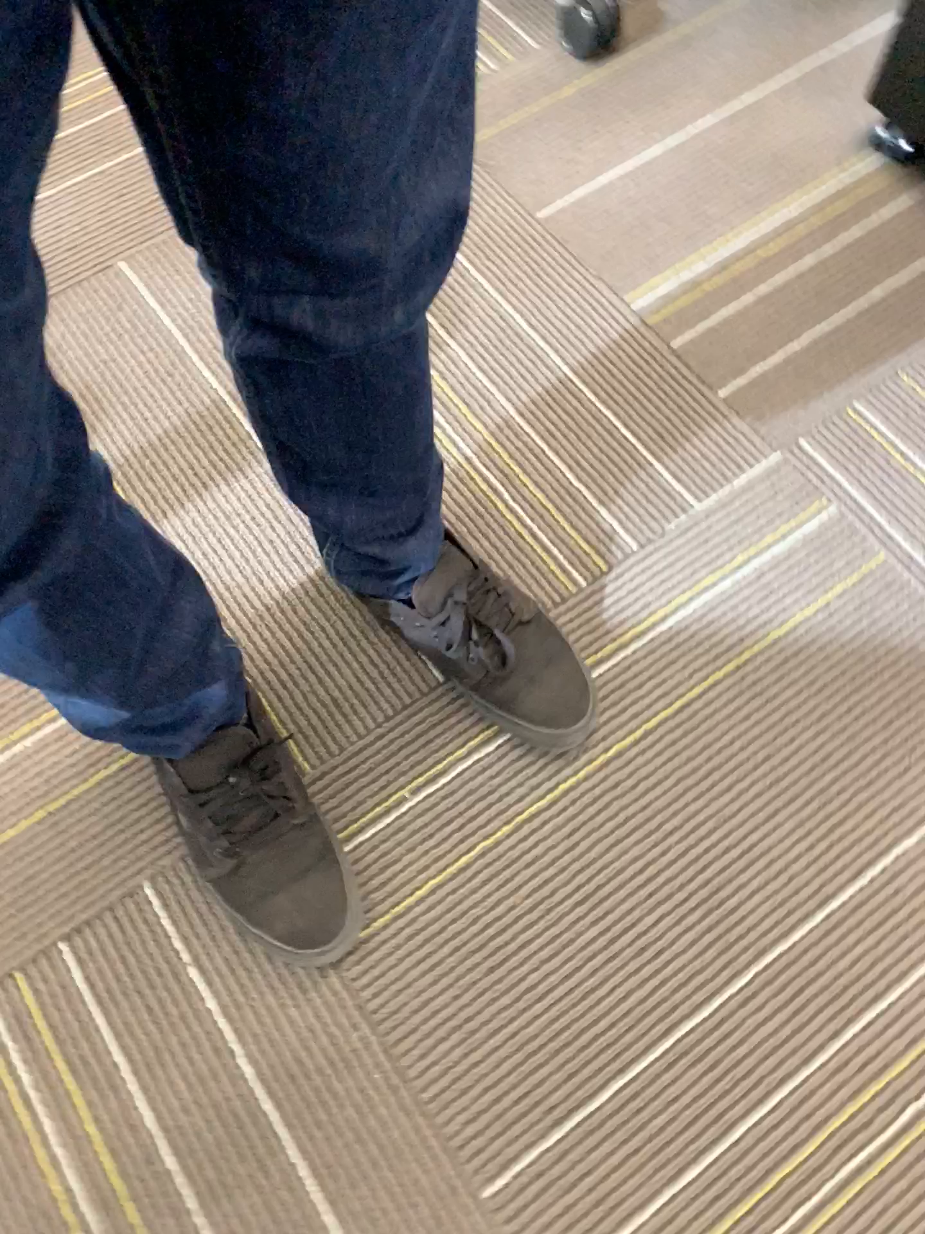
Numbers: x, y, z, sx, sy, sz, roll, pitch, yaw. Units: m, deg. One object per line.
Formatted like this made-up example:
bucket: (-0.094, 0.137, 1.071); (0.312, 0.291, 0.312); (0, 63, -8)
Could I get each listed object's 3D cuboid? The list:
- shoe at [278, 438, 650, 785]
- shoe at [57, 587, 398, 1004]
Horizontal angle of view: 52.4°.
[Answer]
shoe: (-0.002, -0.005, 0.793); (0.291, 0.113, 0.109); (37, 72, 16)
shoe: (-0.180, 0.137, 0.732); (0.109, 0.113, 0.292); (-33, 70, -13)
